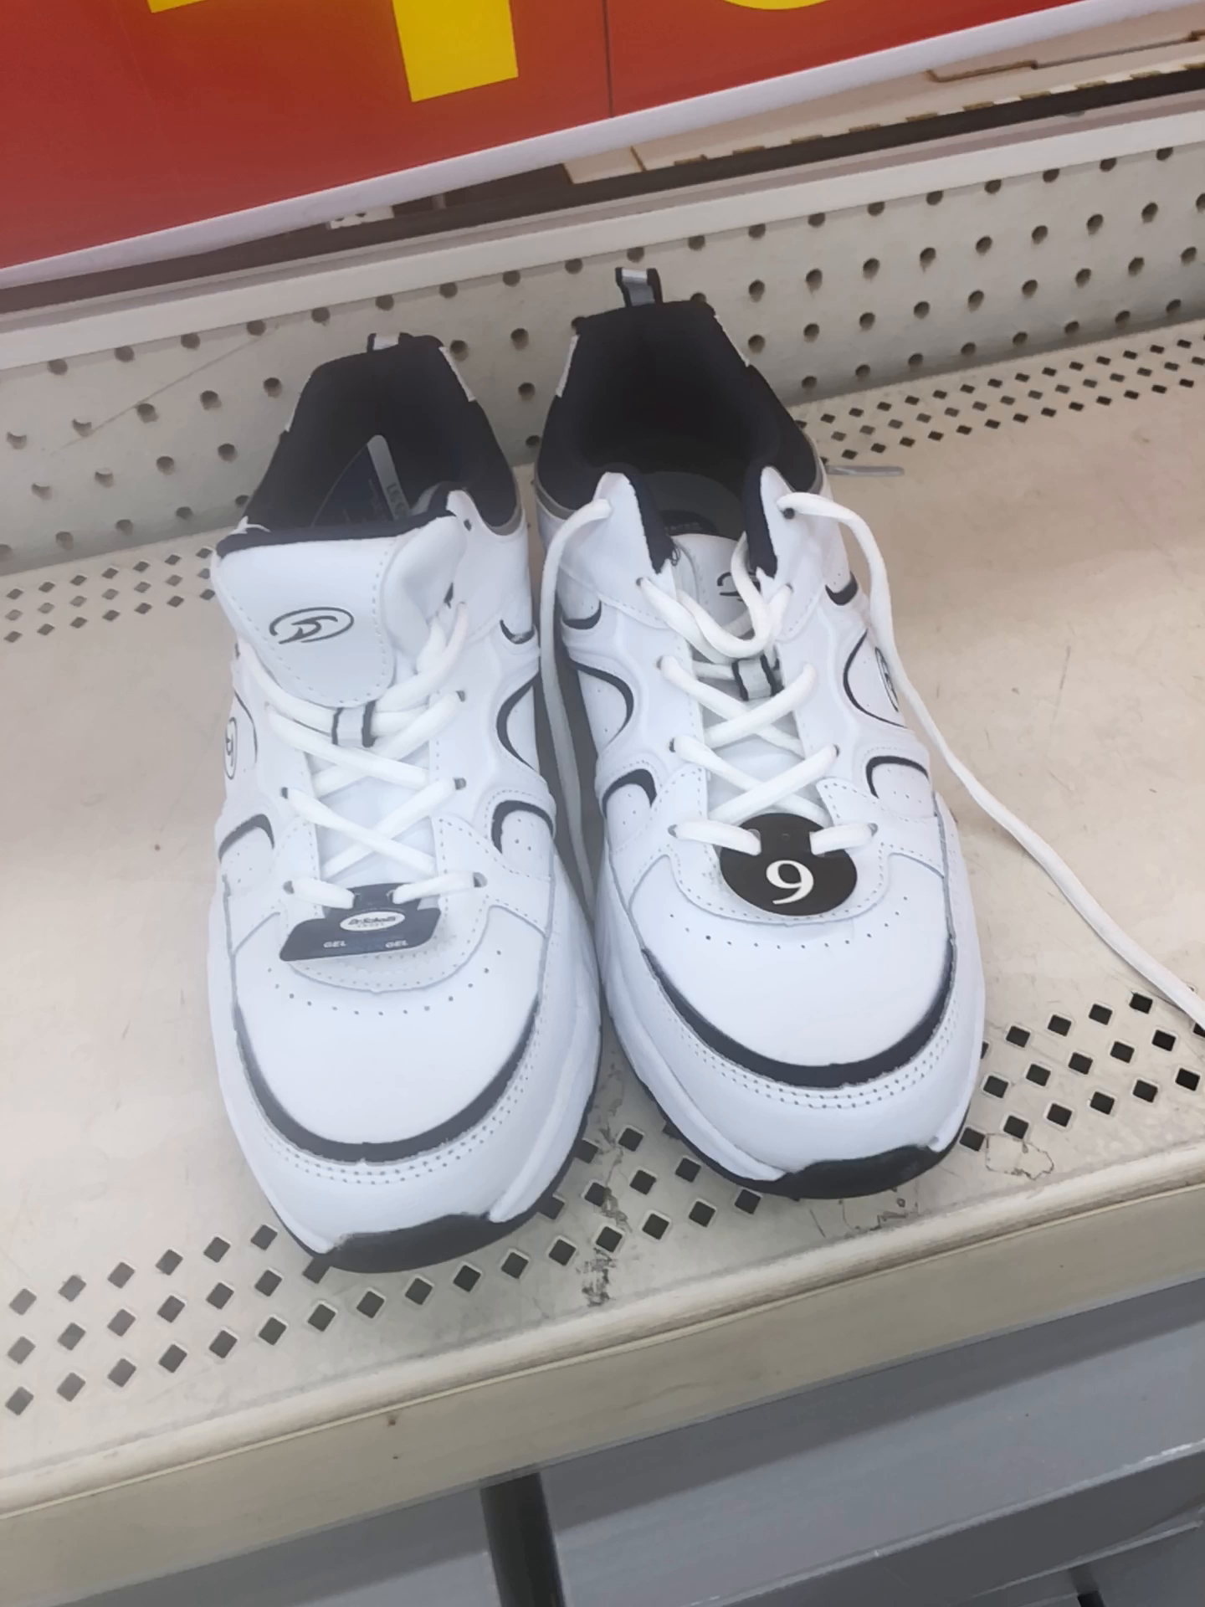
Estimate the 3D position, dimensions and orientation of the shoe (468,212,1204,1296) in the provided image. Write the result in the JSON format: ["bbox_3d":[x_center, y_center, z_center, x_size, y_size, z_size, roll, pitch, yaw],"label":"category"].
[{"bbox_3d":[0.041,-0.029,0.357,0.110,0.120,0.261,-10,51,-4],"label":"shoe"}]

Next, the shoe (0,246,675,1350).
[{"bbox_3d":[-0.055,-0.016,0.350,0.110,0.120,0.261,-7,51,-1],"label":"shoe"}]
